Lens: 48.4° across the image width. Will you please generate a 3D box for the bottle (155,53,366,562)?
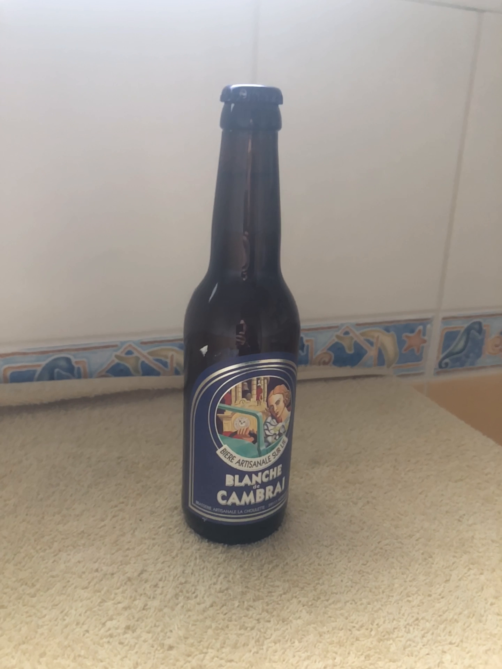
[{"bbox_3d":[-0.003,-0.010,0.276,0.070,0.219,0.070,2,18,-1],"label":"bottle"}]
